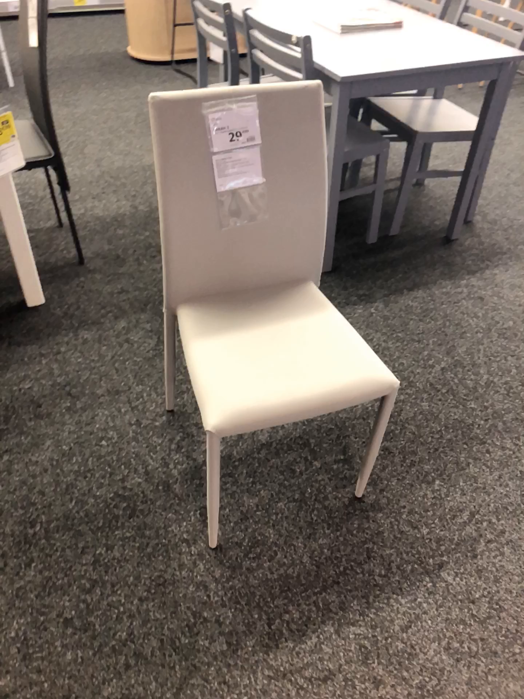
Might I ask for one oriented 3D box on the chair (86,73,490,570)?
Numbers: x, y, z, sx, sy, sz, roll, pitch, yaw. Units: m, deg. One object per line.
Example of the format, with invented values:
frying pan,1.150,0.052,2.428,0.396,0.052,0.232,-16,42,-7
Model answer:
chair,-0.012,-0.058,1.227,0.501,0.815,0.542,-13,44,-18
